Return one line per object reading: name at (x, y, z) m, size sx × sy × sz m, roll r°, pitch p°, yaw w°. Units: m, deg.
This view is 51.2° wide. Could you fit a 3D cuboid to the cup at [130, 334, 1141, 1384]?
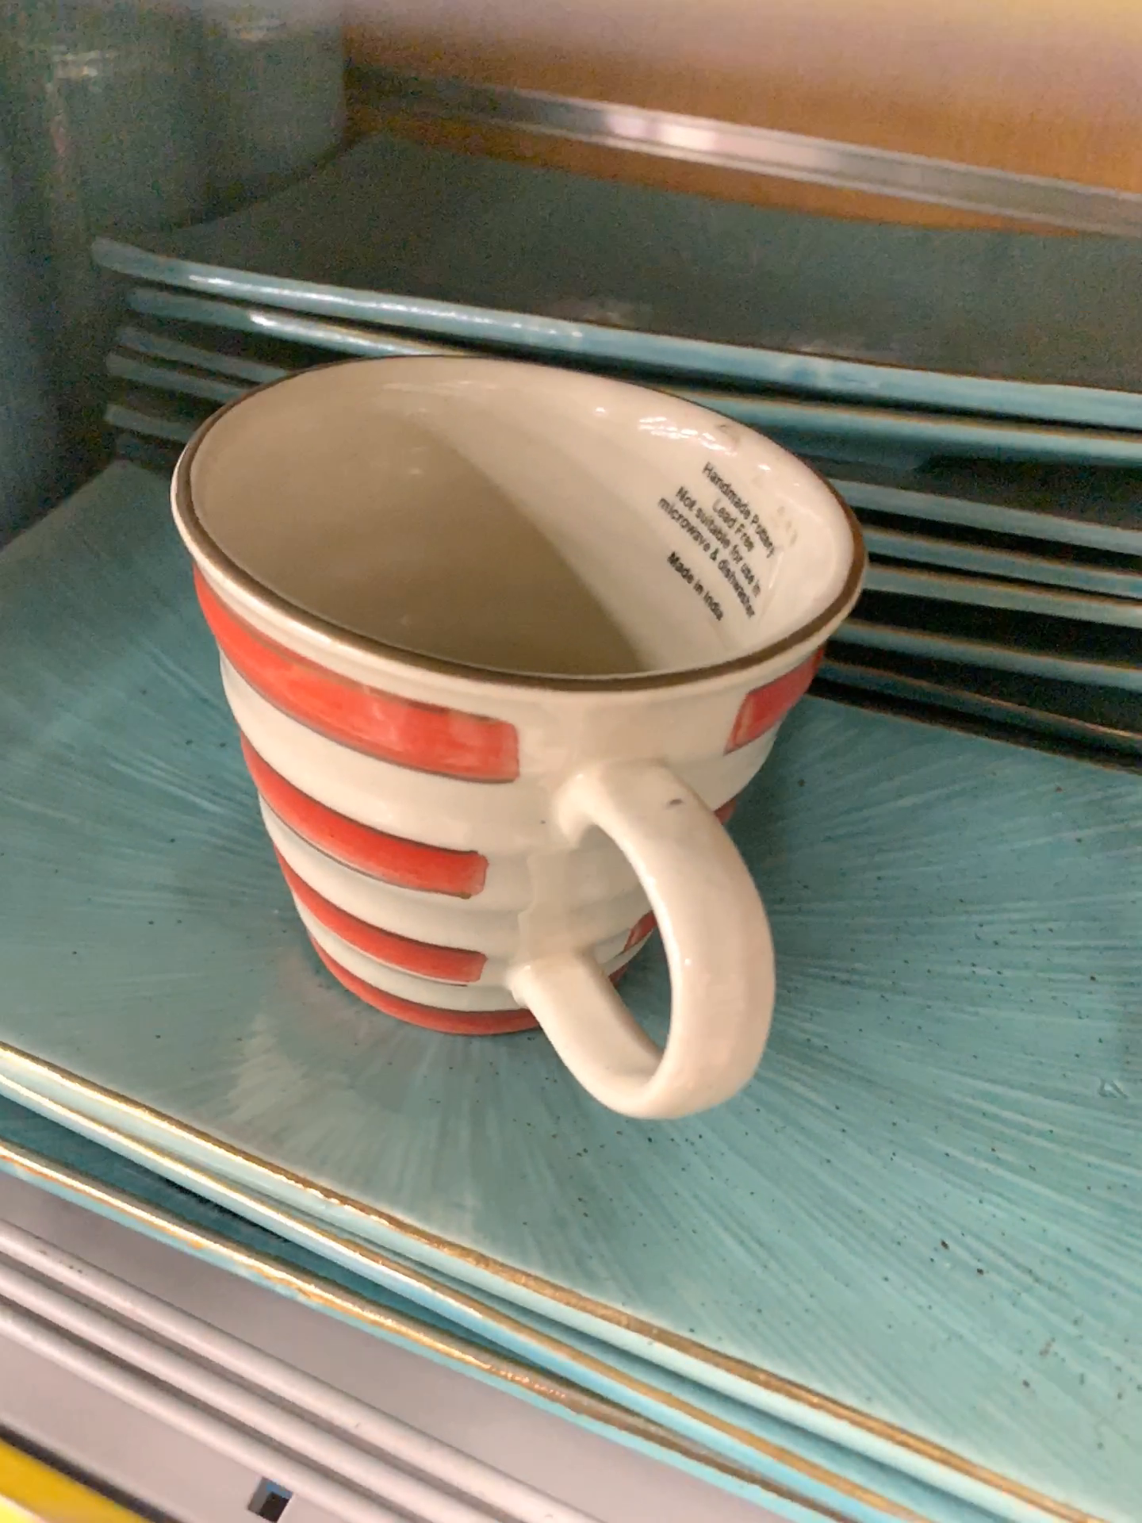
cup at (-0.006, 0.000, 0.194) m, size 0.100 × 0.090 × 0.130 m, roll -9°, pitch 42°, yaw -22°
